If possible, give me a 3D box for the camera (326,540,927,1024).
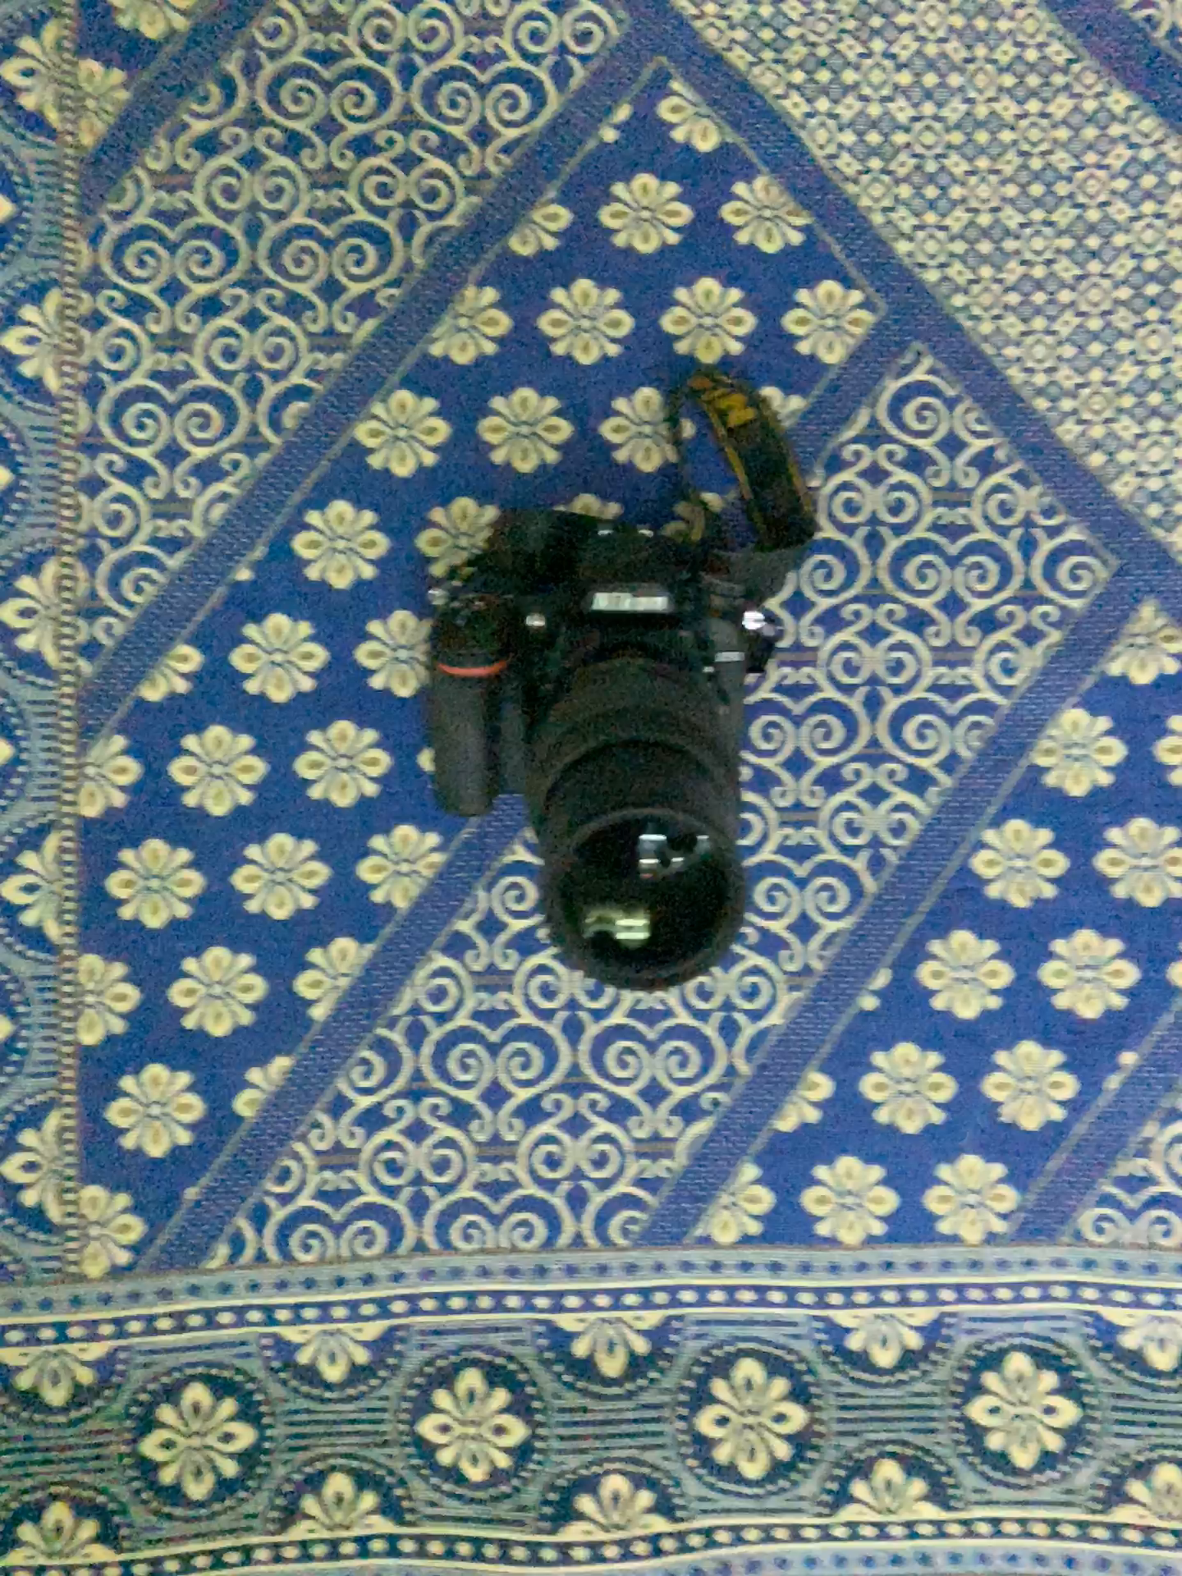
[{"bbox_3d":[0.006,-0.017,0.428,0.160,0.191,0.130,1,103,-2],"label":"camera"}]
